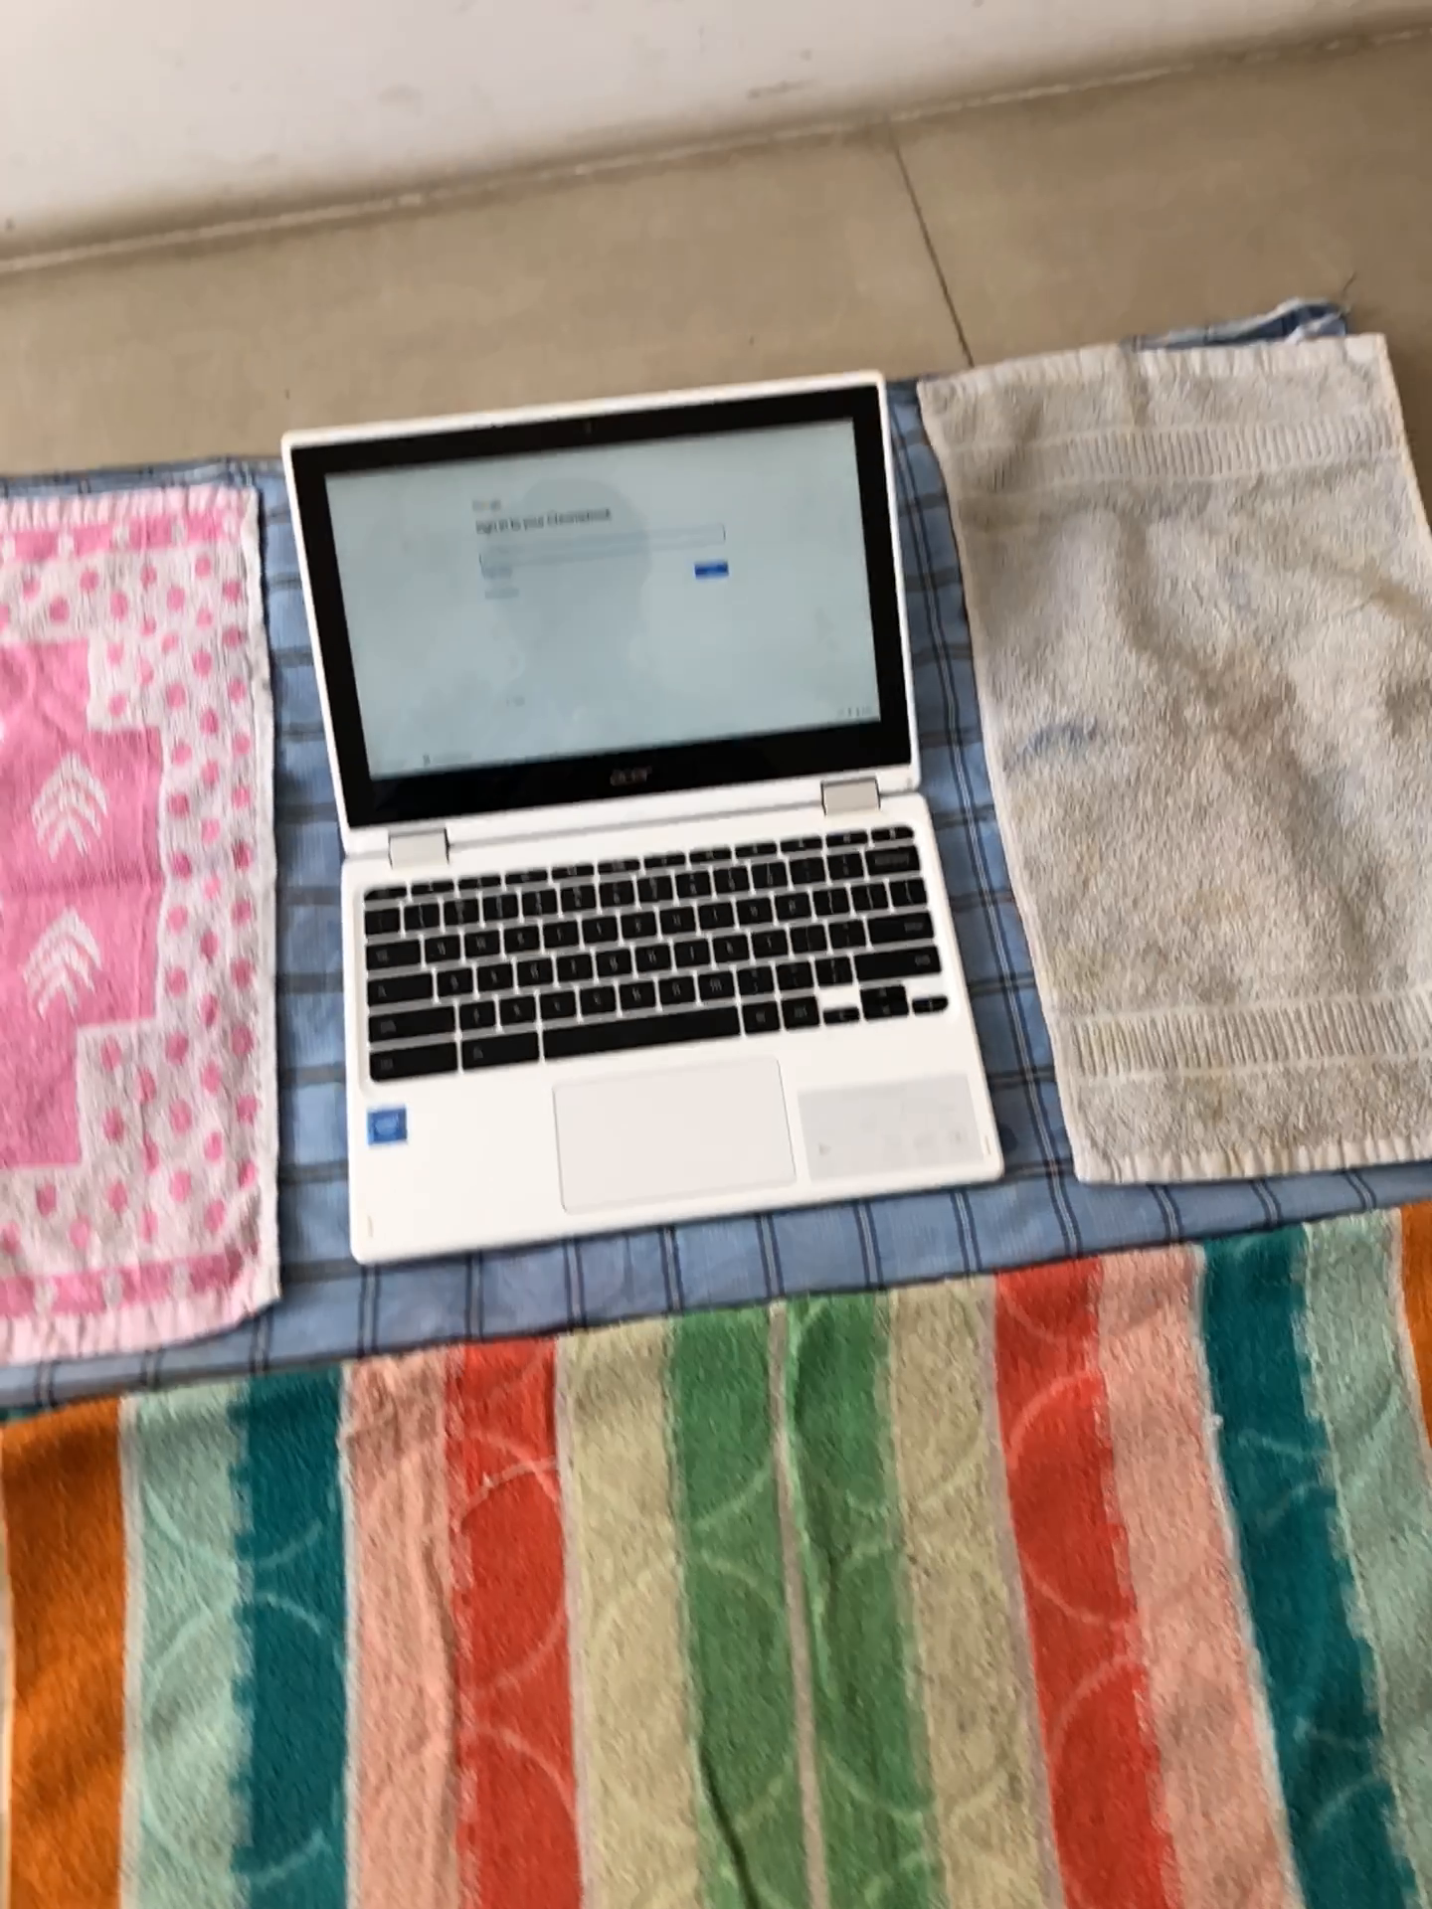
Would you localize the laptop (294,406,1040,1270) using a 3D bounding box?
[{"bbox_3d":[-0.037,-0.064,0.724,0.285,0.101,0.368,-7,65,-2],"label":"laptop"}]
